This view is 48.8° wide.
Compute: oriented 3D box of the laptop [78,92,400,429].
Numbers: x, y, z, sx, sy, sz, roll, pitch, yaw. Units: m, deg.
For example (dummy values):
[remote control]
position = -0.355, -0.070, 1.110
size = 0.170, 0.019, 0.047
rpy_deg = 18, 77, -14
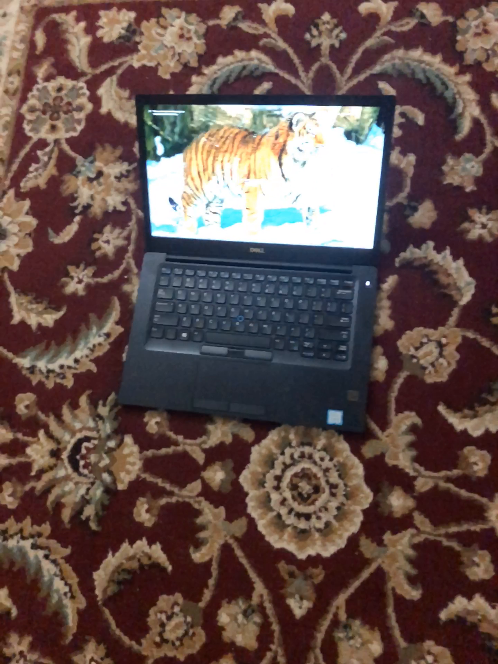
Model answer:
[laptop]
position = 0.001, -0.093, 0.692
size = 0.328, 0.124, 0.383
rpy_deg = 5, 77, 11
